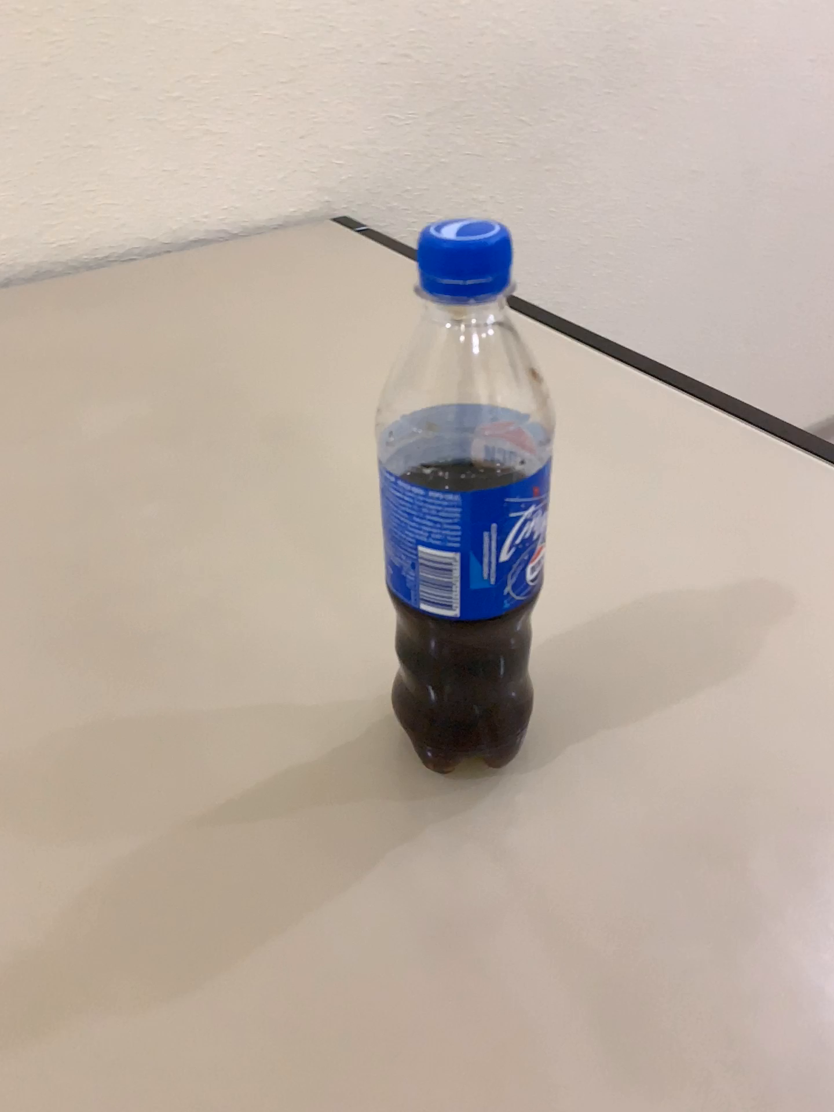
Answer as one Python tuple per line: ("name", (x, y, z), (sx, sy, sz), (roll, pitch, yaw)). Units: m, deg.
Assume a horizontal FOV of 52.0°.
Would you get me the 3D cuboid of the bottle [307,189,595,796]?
("bottle", (0.011, -0.012, 0.339), (0.080, 0.229, 0.080), (-1, 37, 1))
